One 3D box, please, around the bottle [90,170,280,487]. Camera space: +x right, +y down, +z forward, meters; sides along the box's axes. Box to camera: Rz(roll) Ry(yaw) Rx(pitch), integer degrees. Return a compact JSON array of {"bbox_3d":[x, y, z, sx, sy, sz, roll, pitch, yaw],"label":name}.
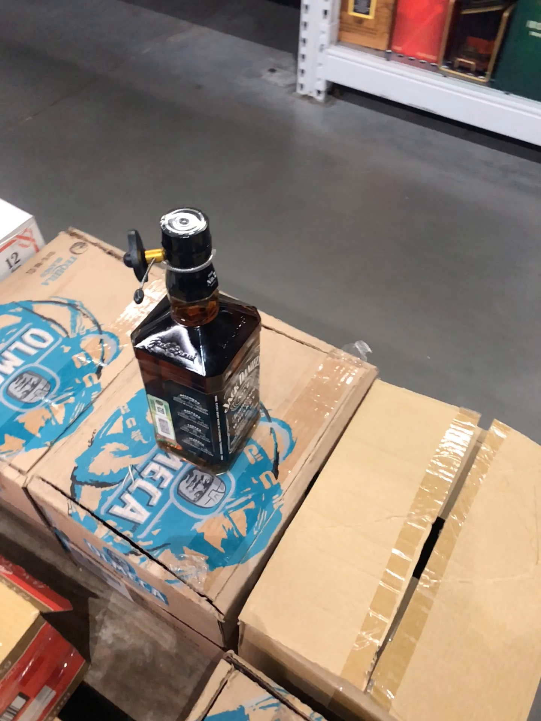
[{"bbox_3d":[-0.068,-0.013,0.595,0.110,0.308,0.111,1,51,-1],"label":"bottle"}]
